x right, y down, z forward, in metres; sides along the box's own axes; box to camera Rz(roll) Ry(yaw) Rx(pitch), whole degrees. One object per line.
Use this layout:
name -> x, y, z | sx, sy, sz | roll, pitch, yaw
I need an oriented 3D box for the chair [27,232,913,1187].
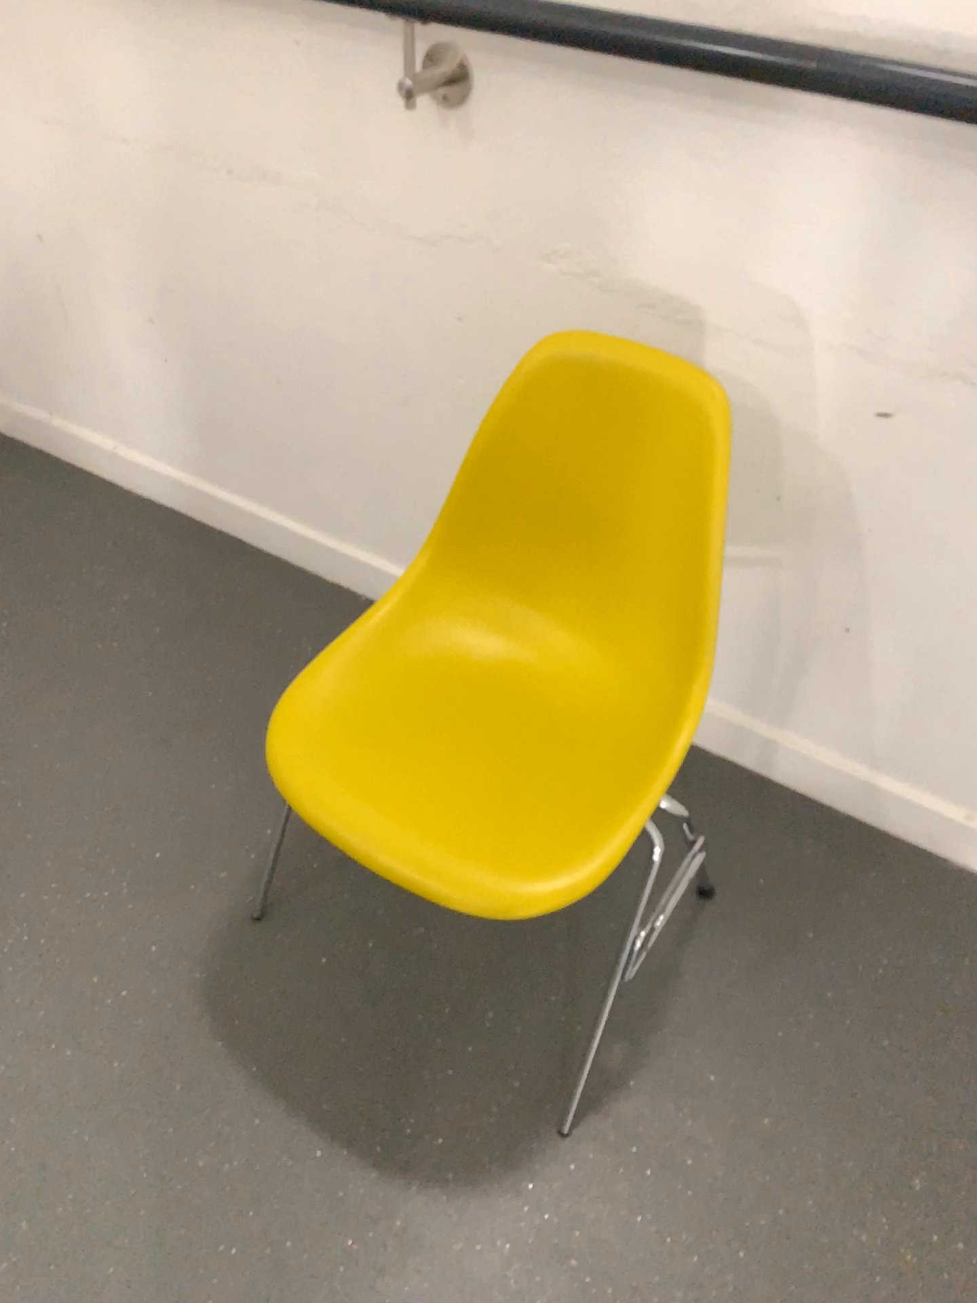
chair -> -0.006, 0.067, 1.211 | 0.632, 0.822, 0.544 | 24, 47, 21
